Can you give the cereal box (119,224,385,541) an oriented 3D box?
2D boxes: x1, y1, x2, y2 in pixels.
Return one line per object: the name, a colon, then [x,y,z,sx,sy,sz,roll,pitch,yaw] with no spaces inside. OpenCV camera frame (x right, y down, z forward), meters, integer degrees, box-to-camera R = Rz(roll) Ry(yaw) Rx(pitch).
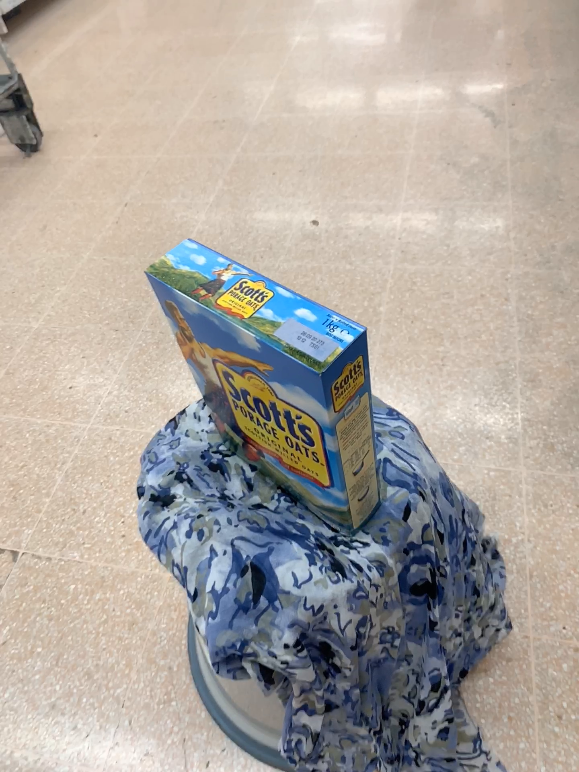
cereal box: [-0.023,0.005,0.537,0.211,0.248,0.060,32,64,31]
